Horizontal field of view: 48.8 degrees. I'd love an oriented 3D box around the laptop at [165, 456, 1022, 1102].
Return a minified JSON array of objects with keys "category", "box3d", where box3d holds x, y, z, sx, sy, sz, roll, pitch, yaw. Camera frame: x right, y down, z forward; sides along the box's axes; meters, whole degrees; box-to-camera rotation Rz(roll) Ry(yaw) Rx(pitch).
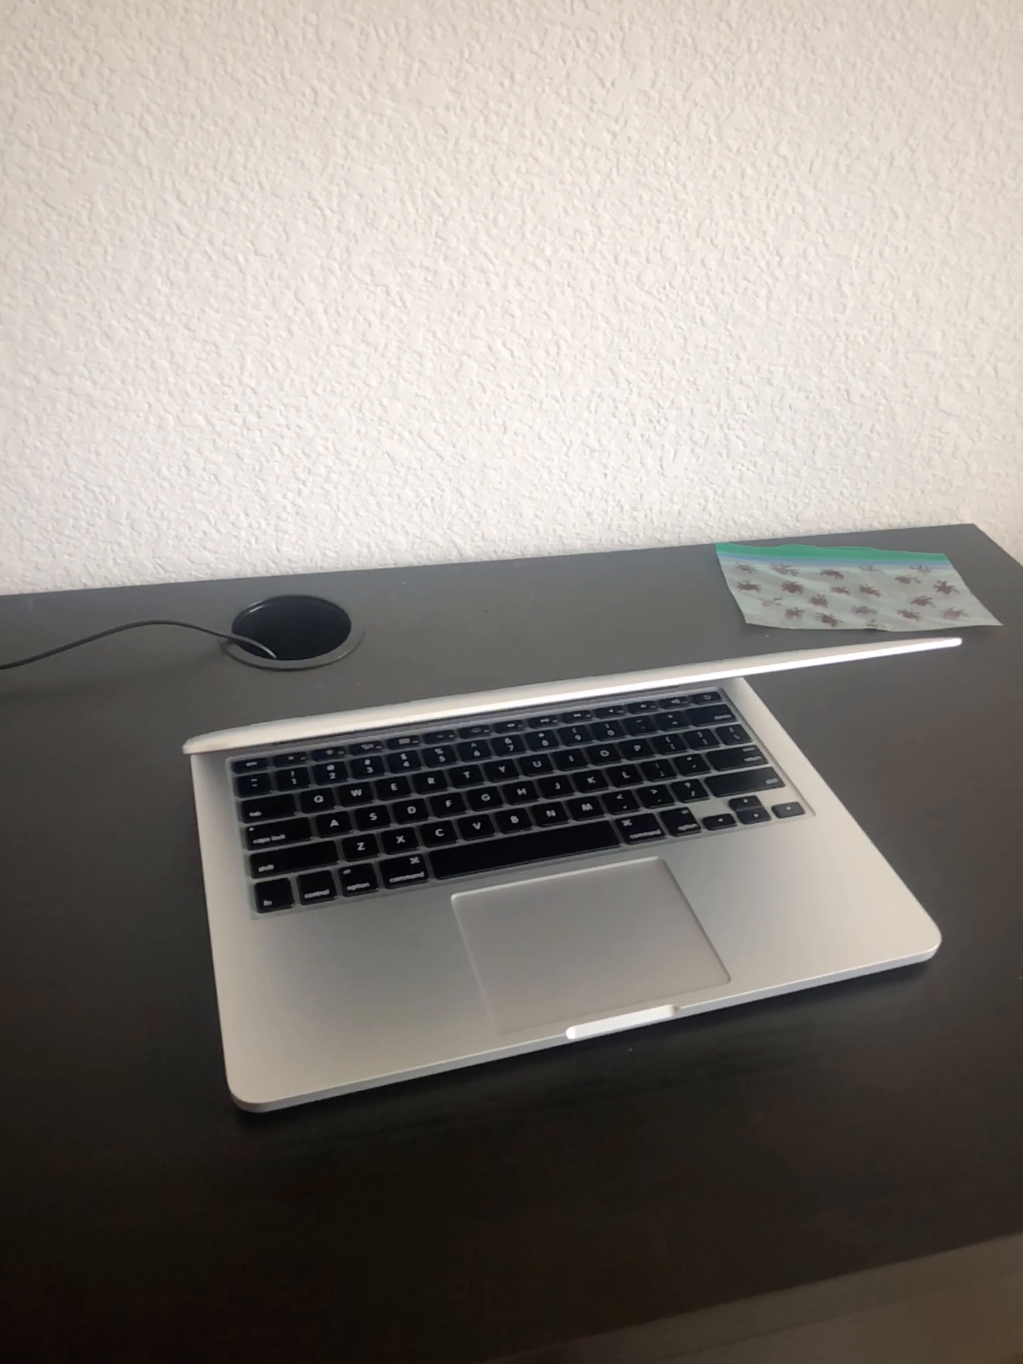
[{"category":"laptop","box3d":[0.018,0.017,0.503,0.309,0.133,0.225,-7,36,-15]}]
